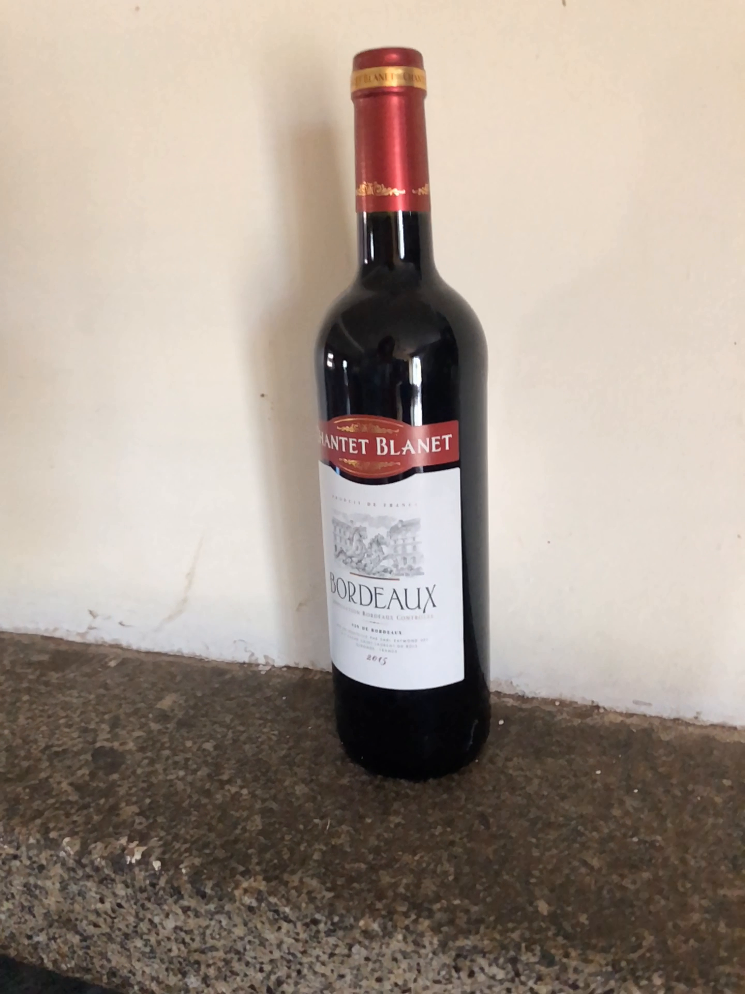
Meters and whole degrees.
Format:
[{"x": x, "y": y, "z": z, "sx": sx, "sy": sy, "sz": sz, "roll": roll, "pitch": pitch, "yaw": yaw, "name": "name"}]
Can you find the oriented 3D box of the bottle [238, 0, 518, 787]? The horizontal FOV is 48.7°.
[{"x": 0.013, "y": -0.033, "z": 0.350, "sx": 0.080, "sy": 0.289, "sz": 0.080, "roll": -3, "pitch": 15, "yaw": 1, "name": "bottle"}]
